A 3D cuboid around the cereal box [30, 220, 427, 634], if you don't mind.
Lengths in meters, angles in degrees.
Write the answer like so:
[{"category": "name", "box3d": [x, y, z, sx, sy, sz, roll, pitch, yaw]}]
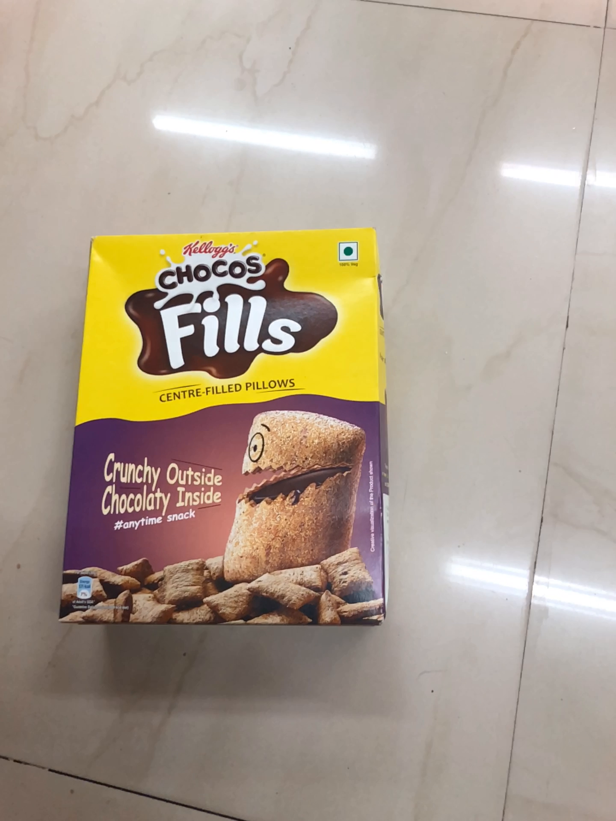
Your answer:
[{"category": "cereal box", "box3d": [-0.040, 0.010, 0.406, 0.200, 0.070, 0.230, -1, 74, 3]}]
